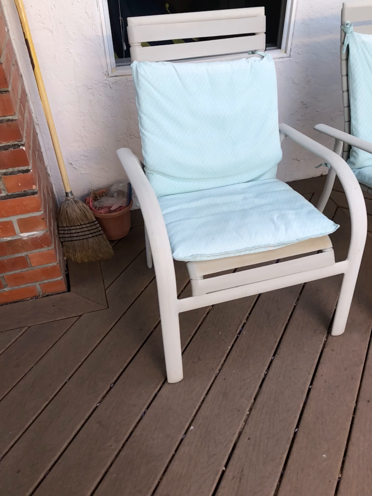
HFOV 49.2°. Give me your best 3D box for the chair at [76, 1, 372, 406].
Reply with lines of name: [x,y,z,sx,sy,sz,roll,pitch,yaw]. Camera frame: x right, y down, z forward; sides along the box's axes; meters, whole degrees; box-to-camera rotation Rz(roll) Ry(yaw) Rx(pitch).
chair: [0.120,-0.225,1.492,0.741,0.994,0.975,-13,41,-13]
